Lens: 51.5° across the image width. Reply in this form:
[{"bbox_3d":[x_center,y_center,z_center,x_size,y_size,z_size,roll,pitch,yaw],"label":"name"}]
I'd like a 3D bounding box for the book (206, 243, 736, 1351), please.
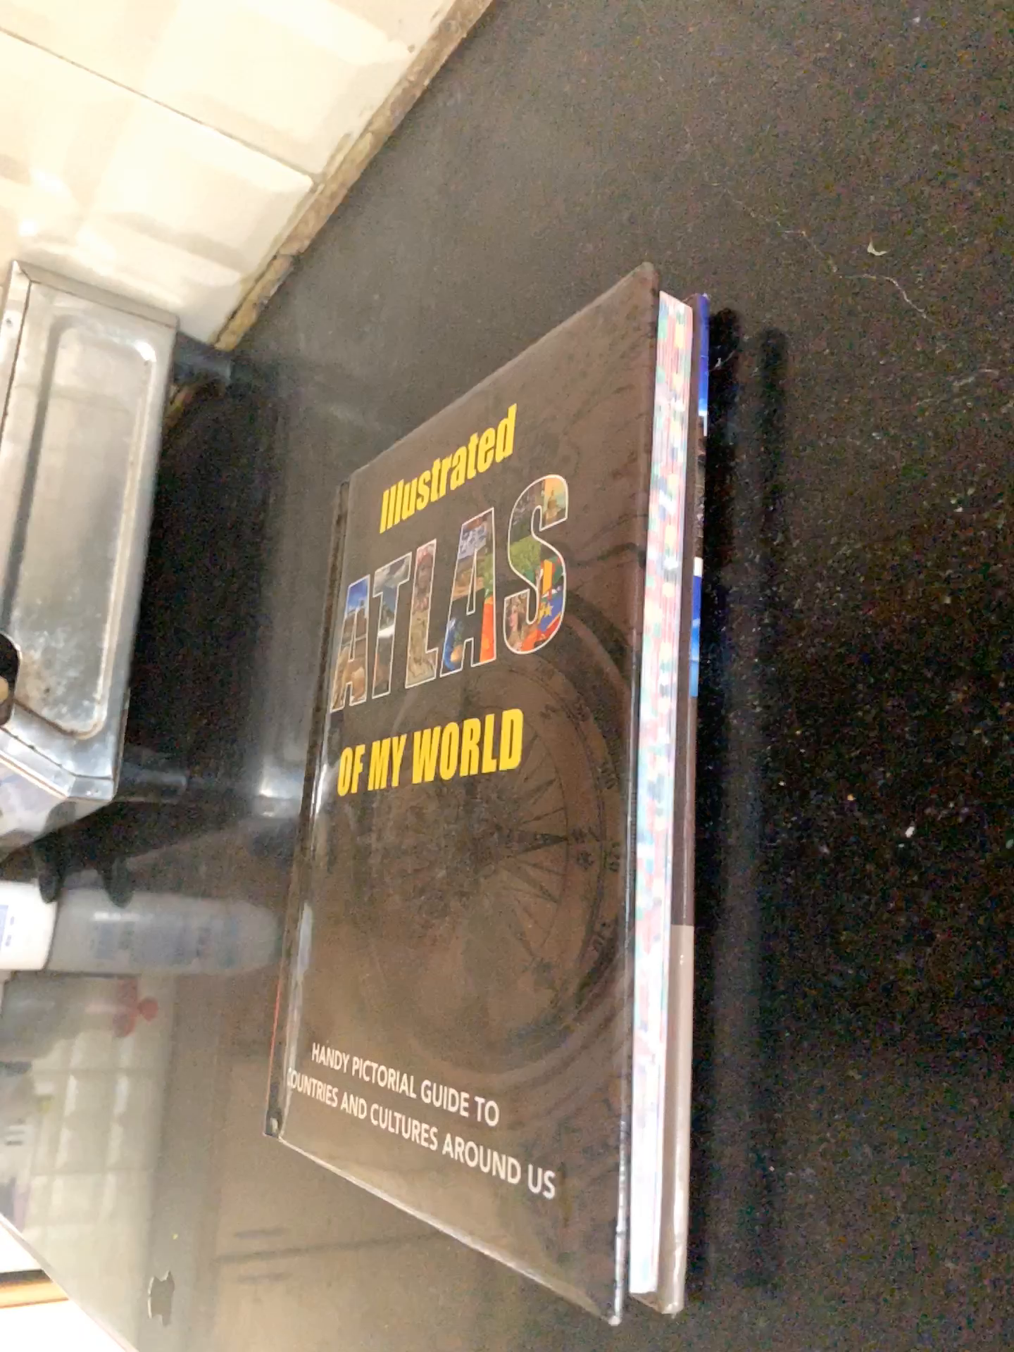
[{"bbox_3d":[-0.021,0.043,0.319,0.201,0.040,0.270,-16,65,55],"label":"book"}]
